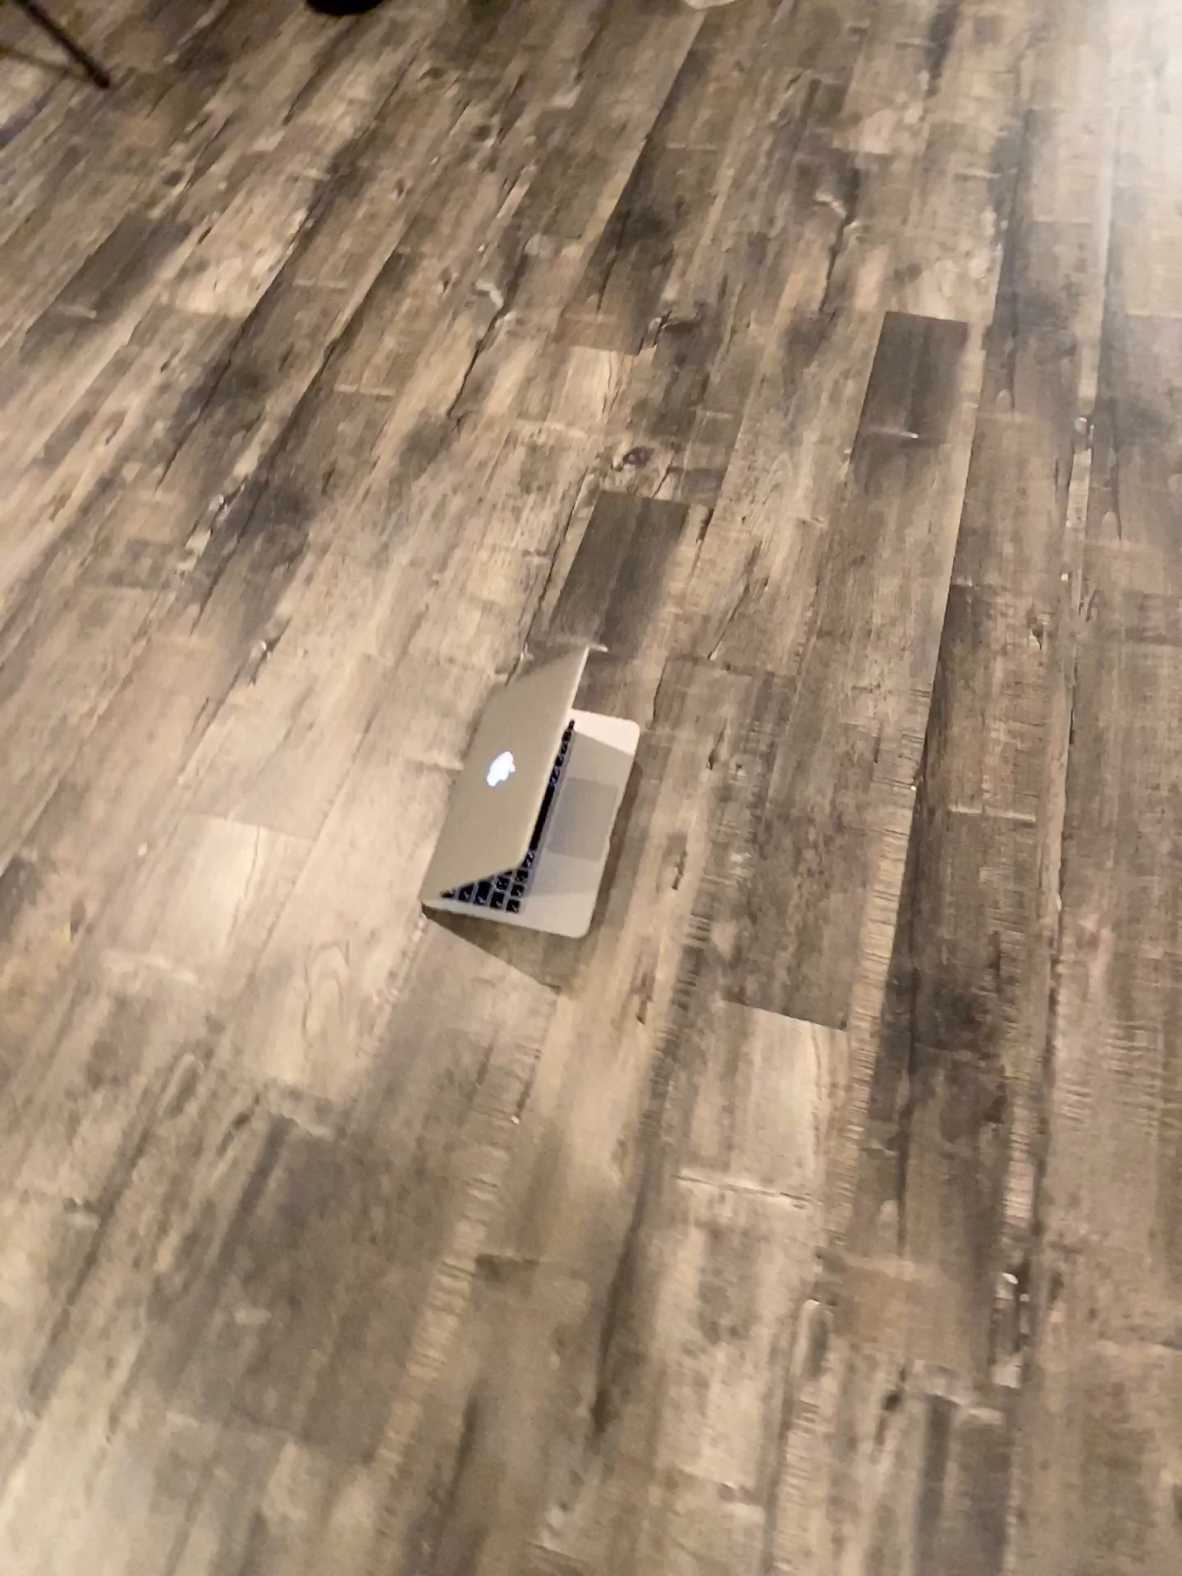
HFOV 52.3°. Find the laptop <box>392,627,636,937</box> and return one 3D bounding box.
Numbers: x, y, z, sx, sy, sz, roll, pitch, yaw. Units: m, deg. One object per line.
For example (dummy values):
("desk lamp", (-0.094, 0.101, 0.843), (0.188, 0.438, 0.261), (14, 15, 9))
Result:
("laptop", (-0.073, -0.012, 1.322), (0.193, 0.132, 0.293), (9, 57, 9))
